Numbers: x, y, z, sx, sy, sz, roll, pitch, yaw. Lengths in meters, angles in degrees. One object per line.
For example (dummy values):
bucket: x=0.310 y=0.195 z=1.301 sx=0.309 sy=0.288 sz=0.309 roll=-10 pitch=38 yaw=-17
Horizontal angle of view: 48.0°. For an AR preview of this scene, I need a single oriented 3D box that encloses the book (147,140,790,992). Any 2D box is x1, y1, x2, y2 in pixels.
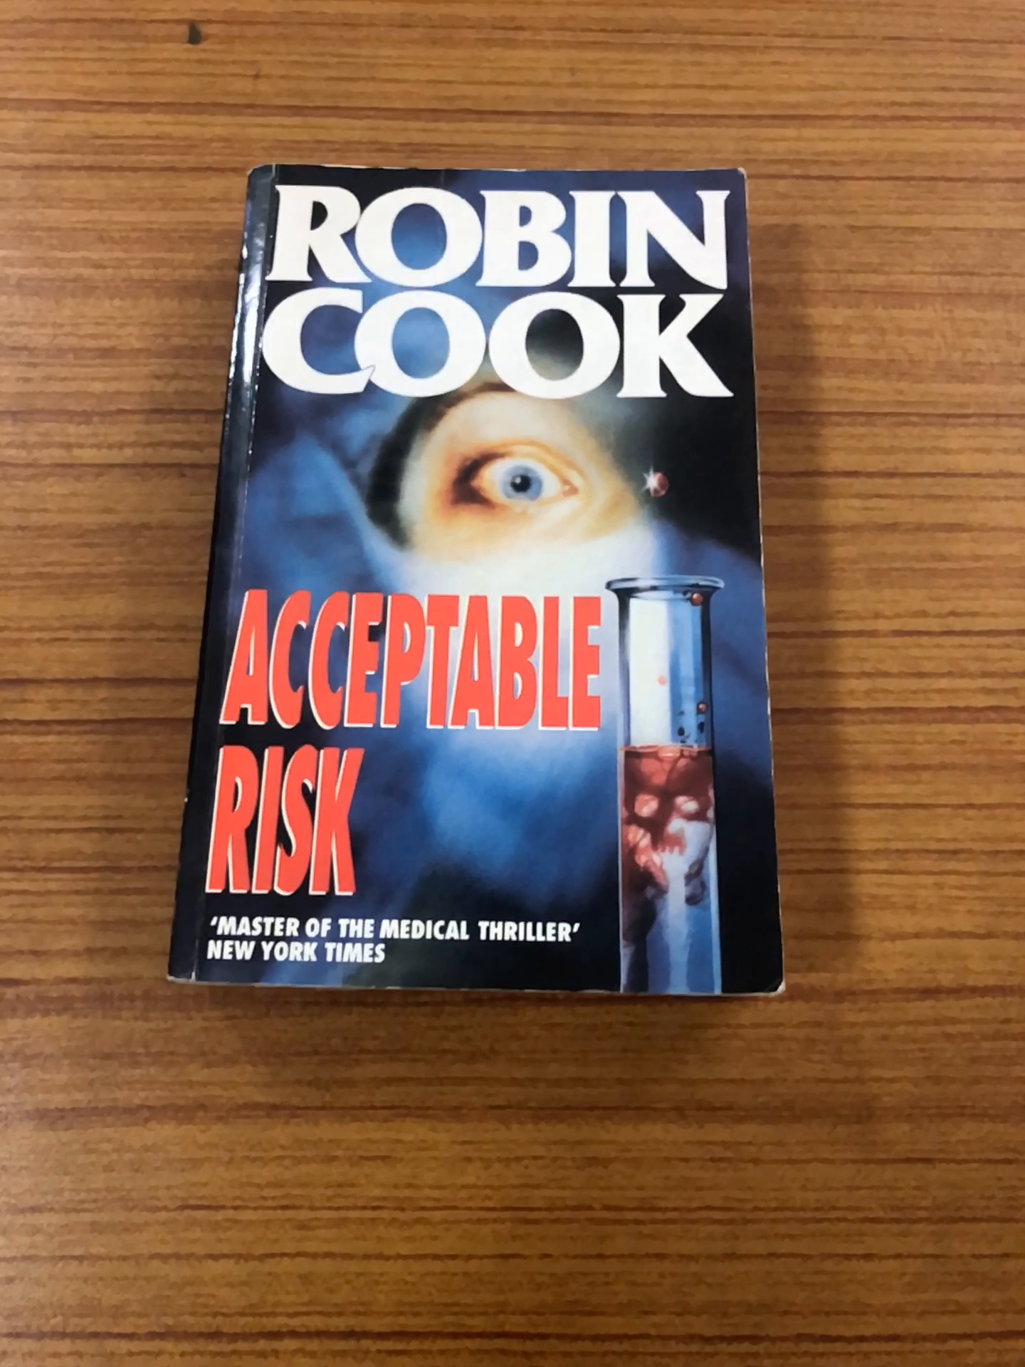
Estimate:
book: x=-0.005 y=-0.026 z=0.239 sx=0.110 sy=0.040 sz=0.170 roll=2 pitch=74 yaw=0
